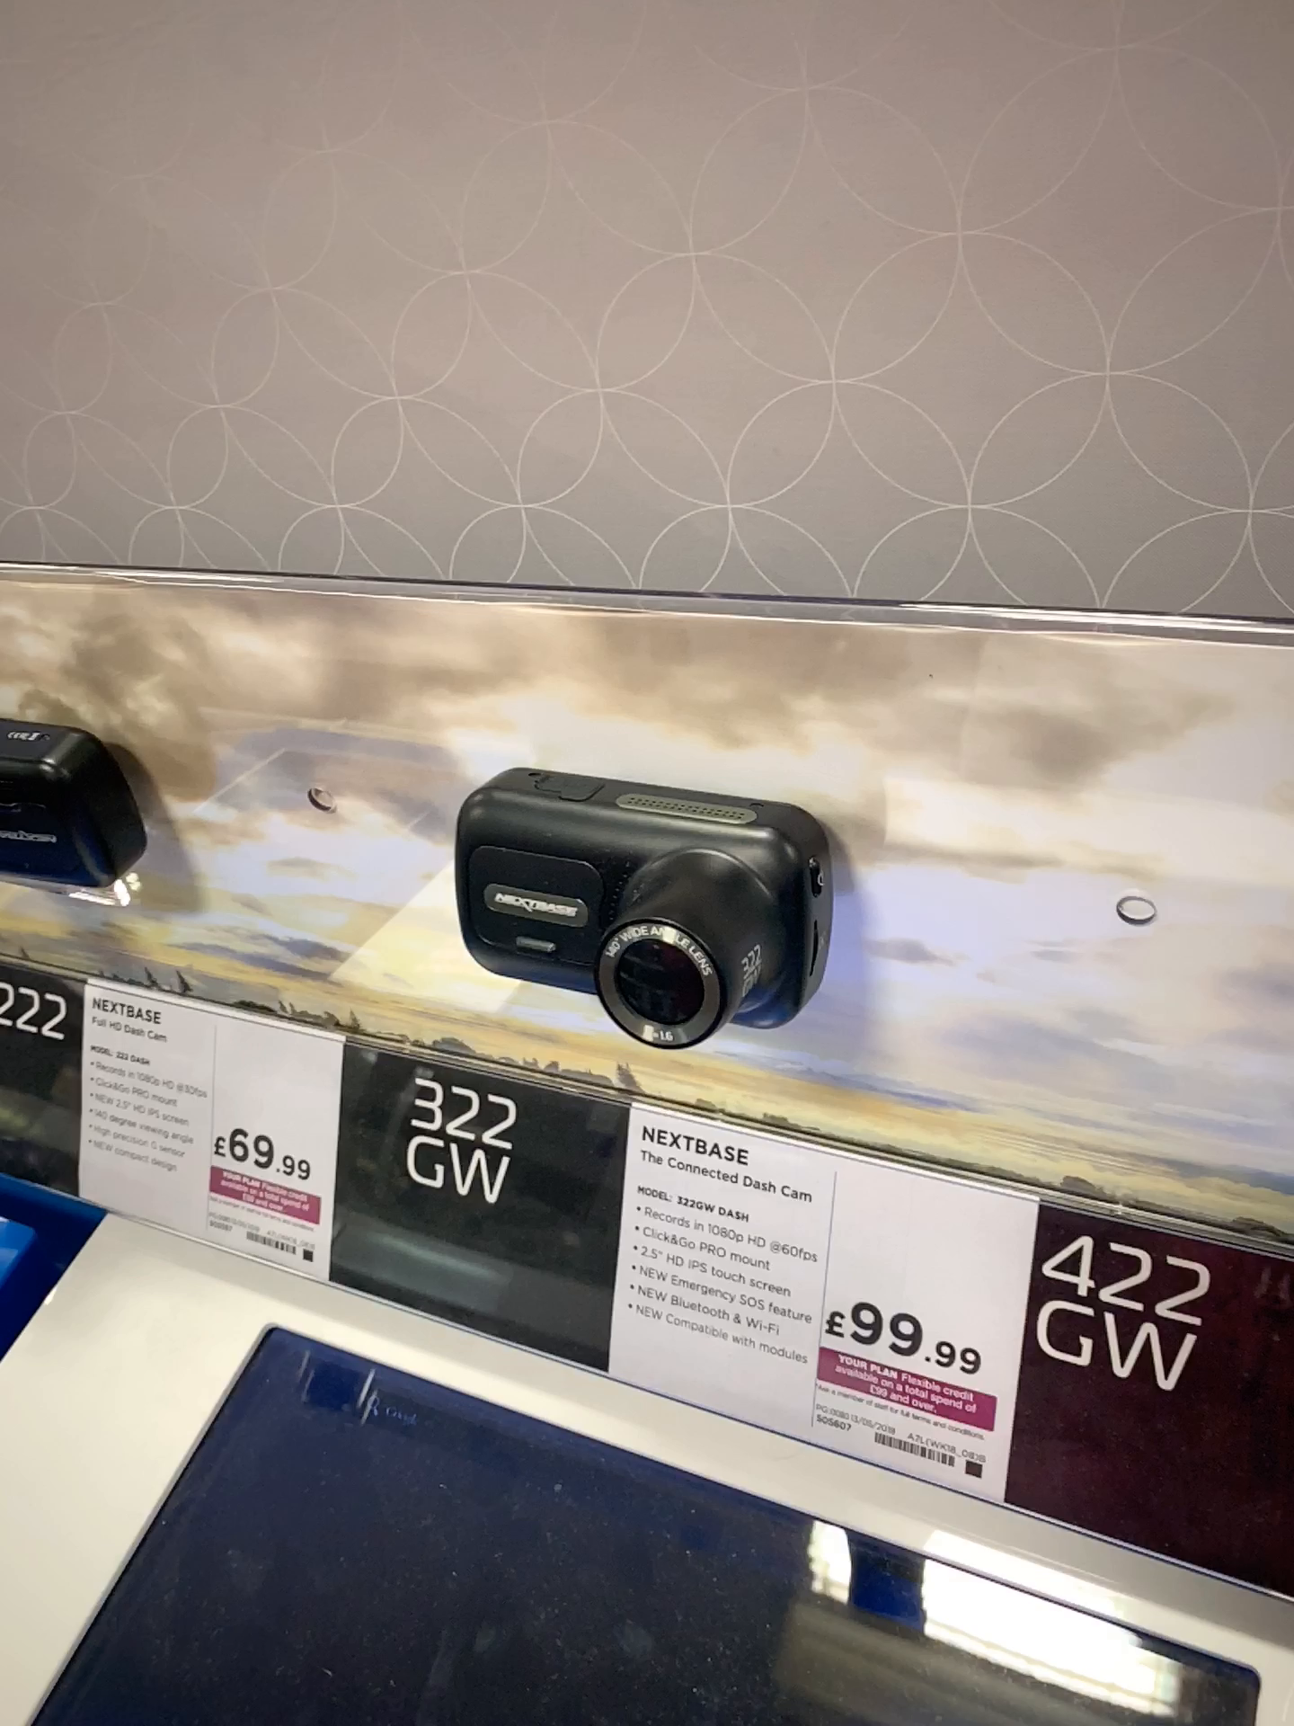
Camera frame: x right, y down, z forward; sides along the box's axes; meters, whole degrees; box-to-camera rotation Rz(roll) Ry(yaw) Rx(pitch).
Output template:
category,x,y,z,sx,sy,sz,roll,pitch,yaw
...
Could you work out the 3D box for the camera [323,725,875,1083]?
category,x,y,z,sx,sy,sz,roll,pitch,yaw
camera,-0.008,0.003,0.280,0.090,0.040,0.070,9,22,28
